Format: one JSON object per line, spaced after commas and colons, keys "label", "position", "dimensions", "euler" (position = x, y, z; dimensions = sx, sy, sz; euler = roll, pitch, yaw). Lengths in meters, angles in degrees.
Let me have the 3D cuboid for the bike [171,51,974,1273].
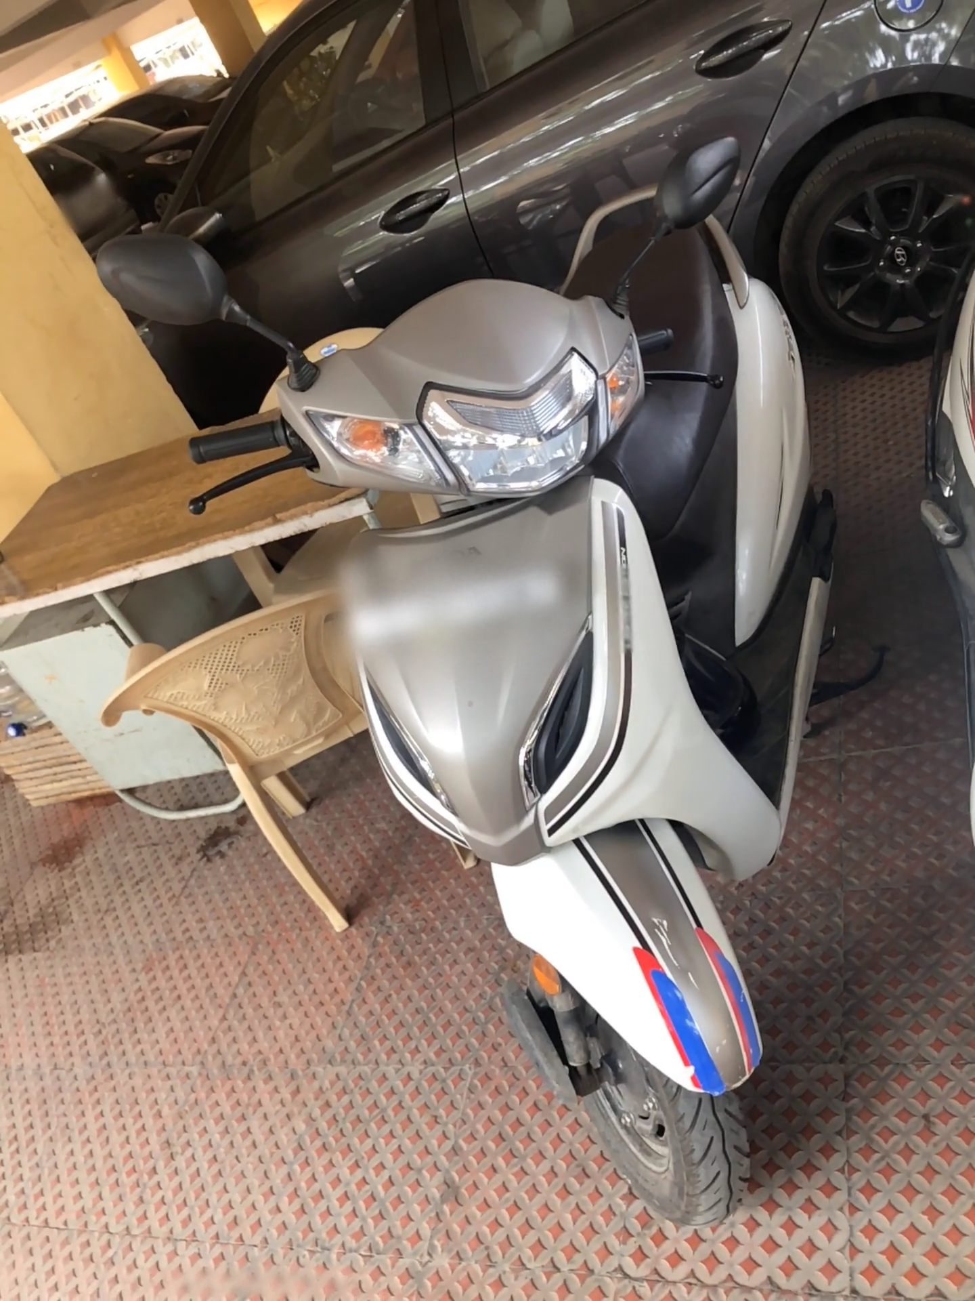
{"label": "bike", "position": [0.226, -0.081, 1.643], "dimensions": [0.627, 0.850, 1.462], "euler": [-14, 41, 24]}
